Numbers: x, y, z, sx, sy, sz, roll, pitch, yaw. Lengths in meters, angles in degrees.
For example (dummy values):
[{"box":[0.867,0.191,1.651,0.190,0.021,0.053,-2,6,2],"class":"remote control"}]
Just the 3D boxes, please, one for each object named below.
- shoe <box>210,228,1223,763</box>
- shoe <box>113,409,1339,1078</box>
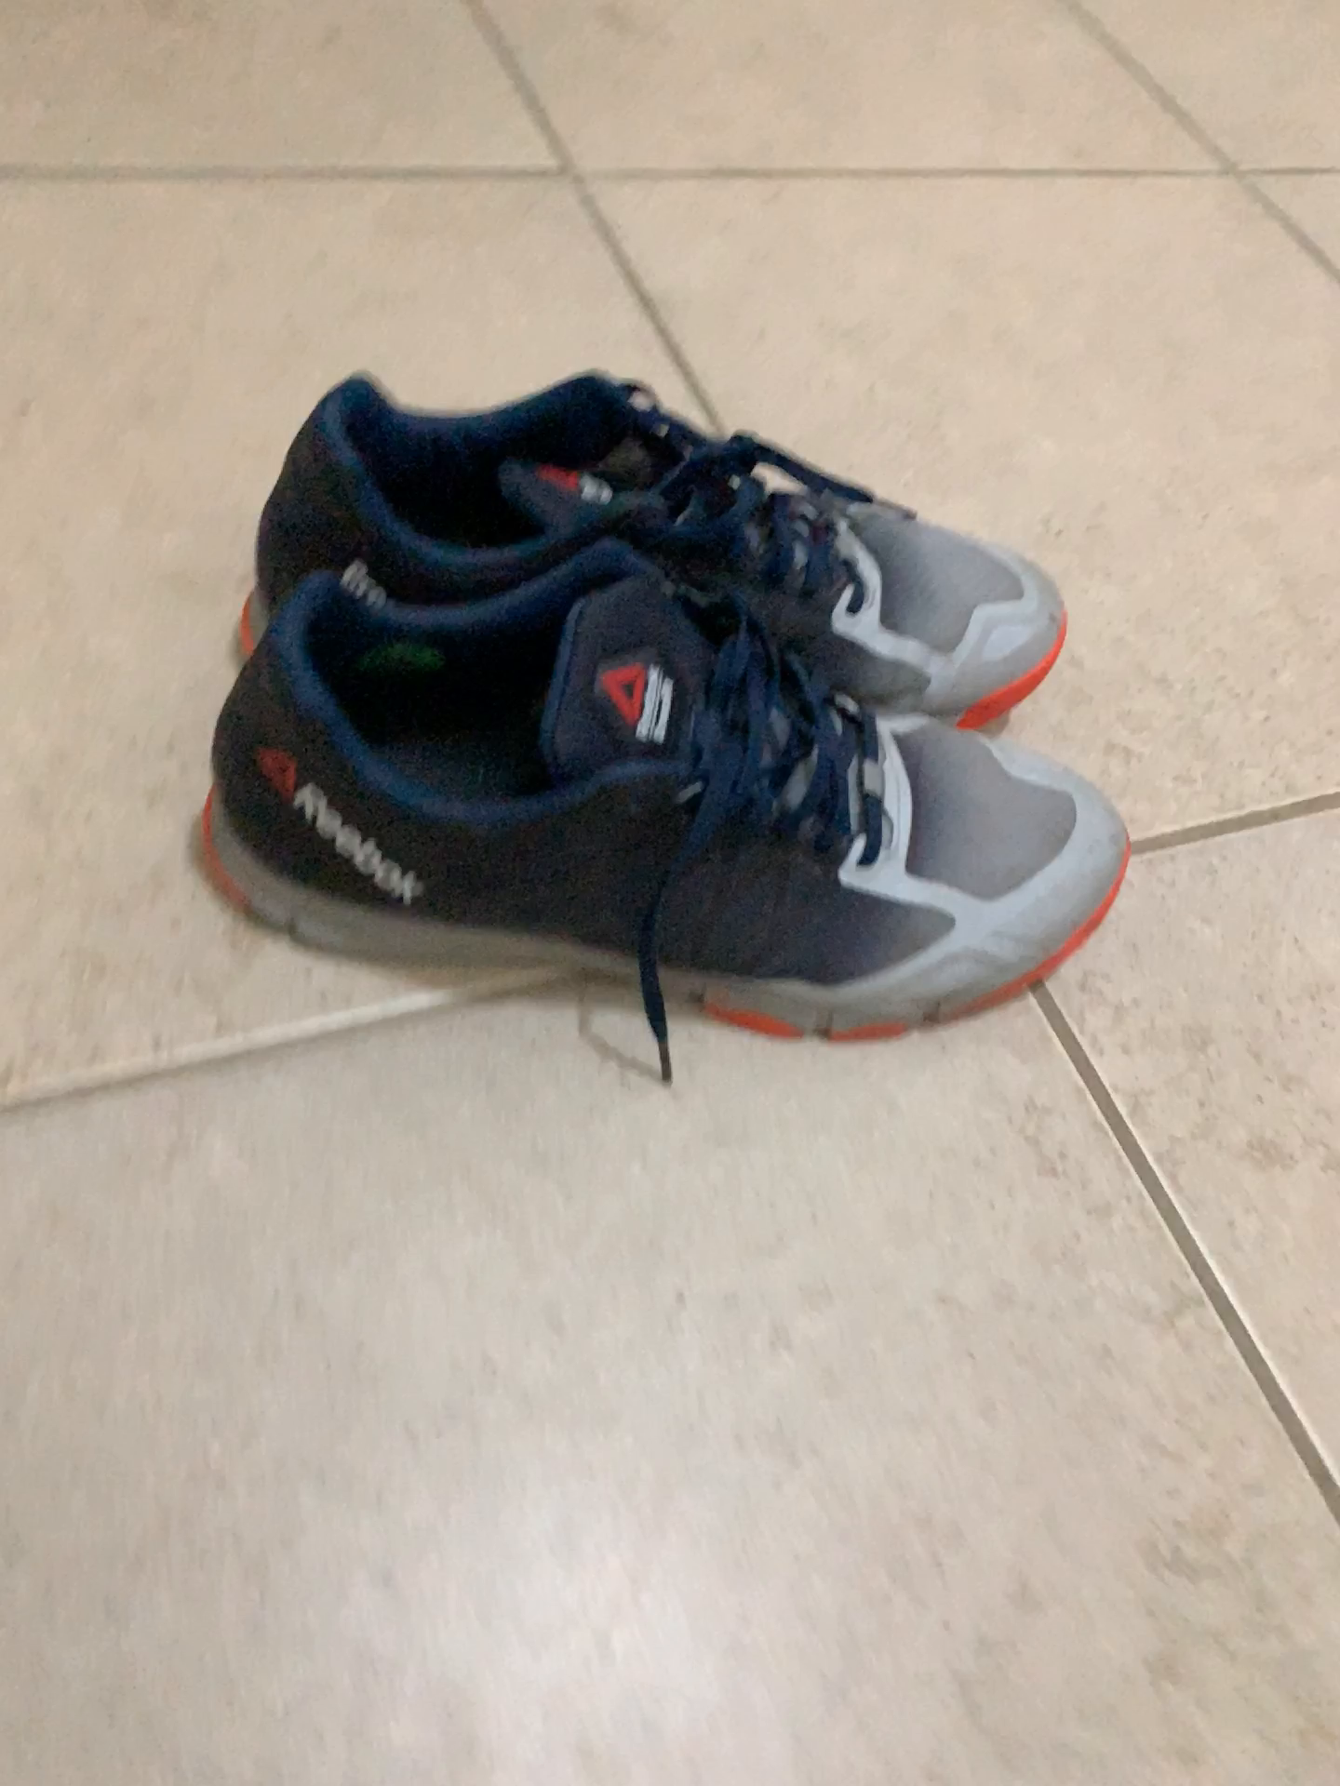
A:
[{"box":[0.008,-0.125,0.471,0.305,0.121,0.105,-1,56,-15],"class":"shoe"},{"box":[0.016,-0.033,0.414,0.314,0.133,0.110,5,55,-11],"class":"shoe"}]
